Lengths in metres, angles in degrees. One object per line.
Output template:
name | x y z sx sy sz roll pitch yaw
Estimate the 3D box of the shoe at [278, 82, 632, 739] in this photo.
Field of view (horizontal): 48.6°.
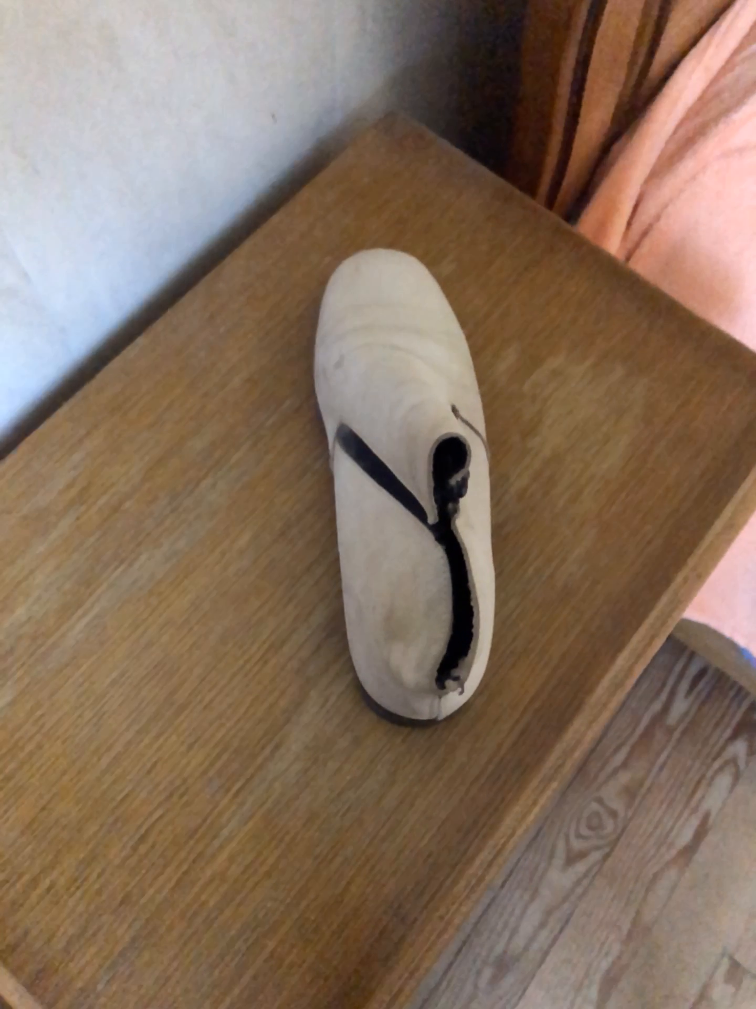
shoe | 0.019 -0.042 0.395 0.100 0.130 0.271 -6 68 -4
